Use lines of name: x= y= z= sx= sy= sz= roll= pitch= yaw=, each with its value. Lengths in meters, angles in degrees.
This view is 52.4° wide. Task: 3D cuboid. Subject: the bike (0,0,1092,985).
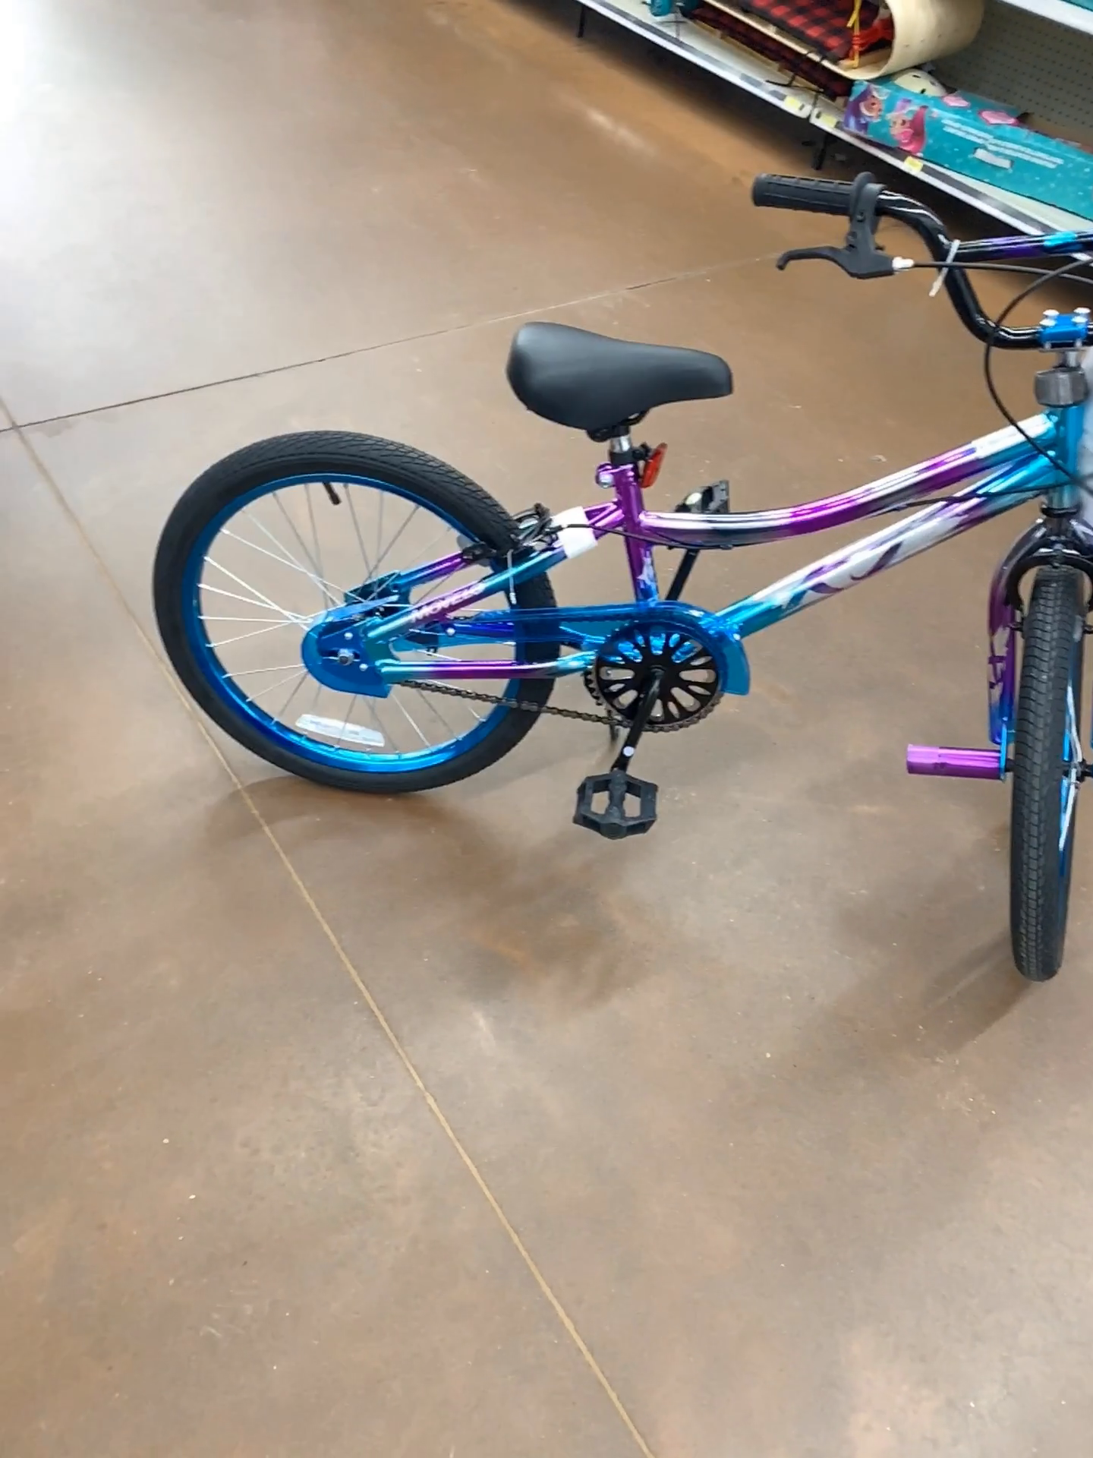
bike: x=0.029 y=-0.301 z=1.193 sx=0.933 sy=0.931 sz=0.580 roll=11 pitch=46 yaw=2
